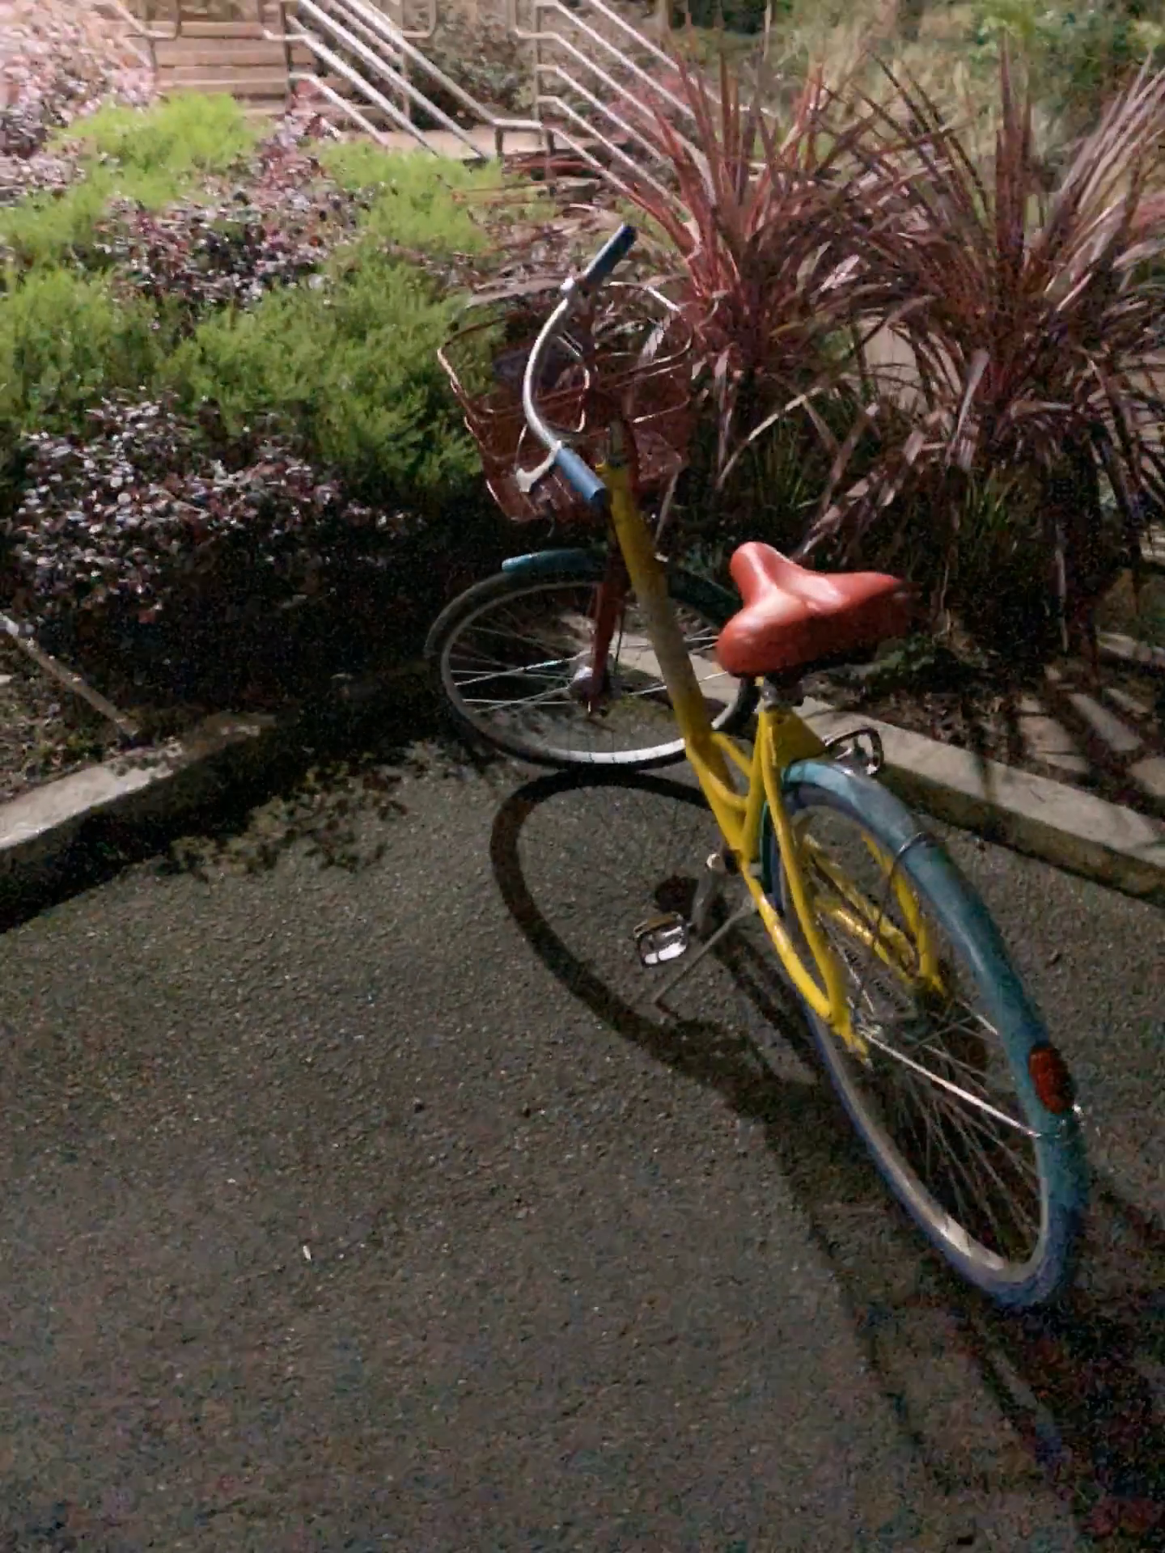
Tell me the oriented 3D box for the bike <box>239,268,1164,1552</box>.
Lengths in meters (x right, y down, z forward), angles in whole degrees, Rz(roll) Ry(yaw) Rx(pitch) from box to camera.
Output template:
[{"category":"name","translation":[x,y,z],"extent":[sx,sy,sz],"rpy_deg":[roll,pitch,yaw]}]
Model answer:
[{"category":"bike","translation":[0.087,-0.056,1.693],"extent":[0.600,1.086,1.590],"rpy_deg":[-16,32,-24]}]
